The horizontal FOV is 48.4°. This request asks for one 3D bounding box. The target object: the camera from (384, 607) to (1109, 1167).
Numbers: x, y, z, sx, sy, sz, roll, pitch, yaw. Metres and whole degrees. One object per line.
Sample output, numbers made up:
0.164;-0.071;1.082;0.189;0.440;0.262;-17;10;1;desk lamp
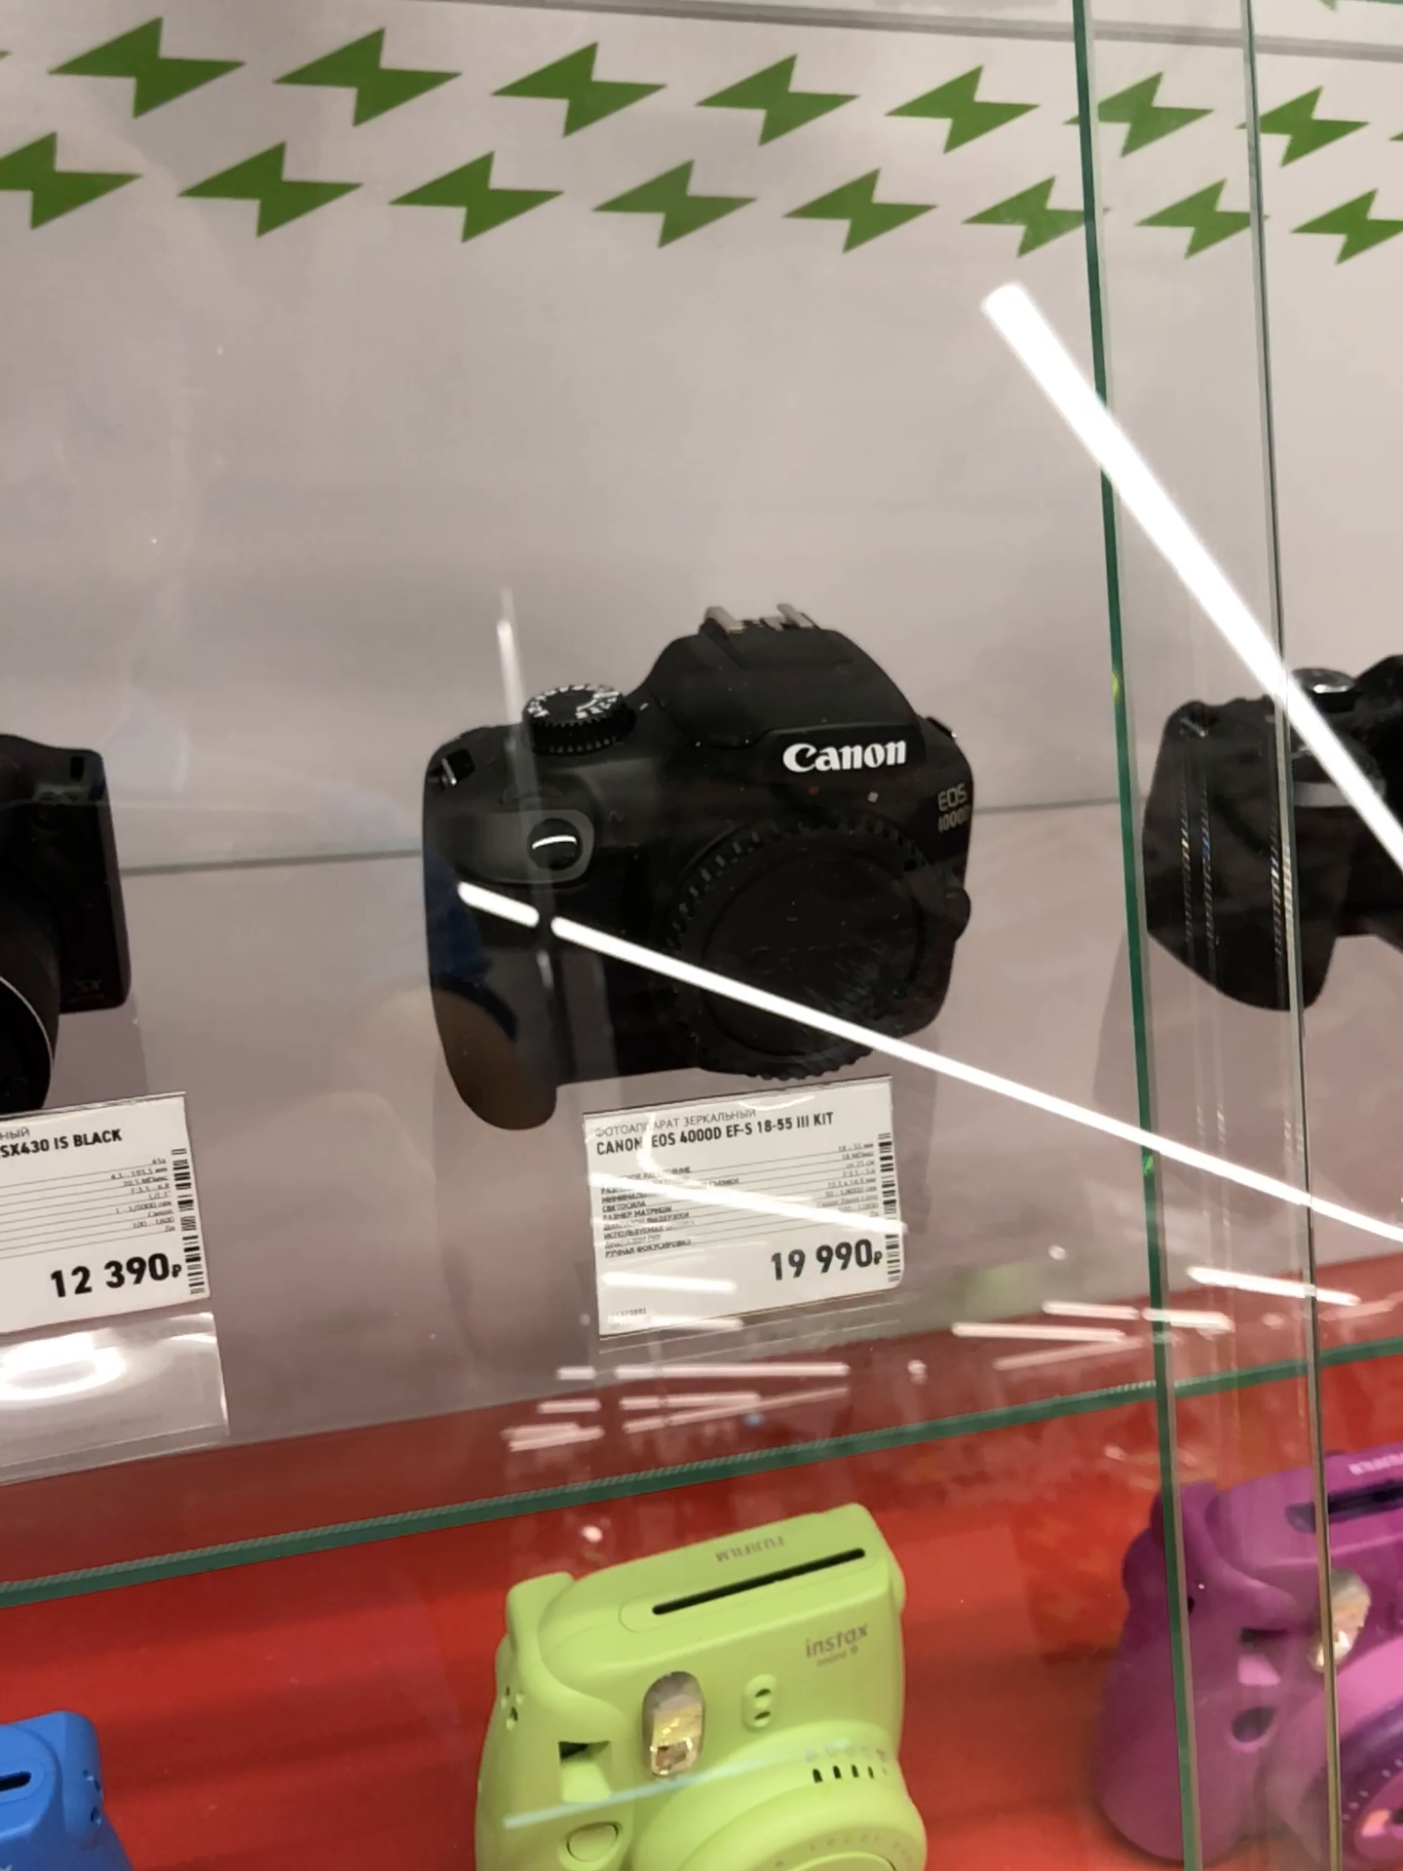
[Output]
0.003;-0.019;0.365;0.135;0.083;0.100;-6;29;-17;camera
